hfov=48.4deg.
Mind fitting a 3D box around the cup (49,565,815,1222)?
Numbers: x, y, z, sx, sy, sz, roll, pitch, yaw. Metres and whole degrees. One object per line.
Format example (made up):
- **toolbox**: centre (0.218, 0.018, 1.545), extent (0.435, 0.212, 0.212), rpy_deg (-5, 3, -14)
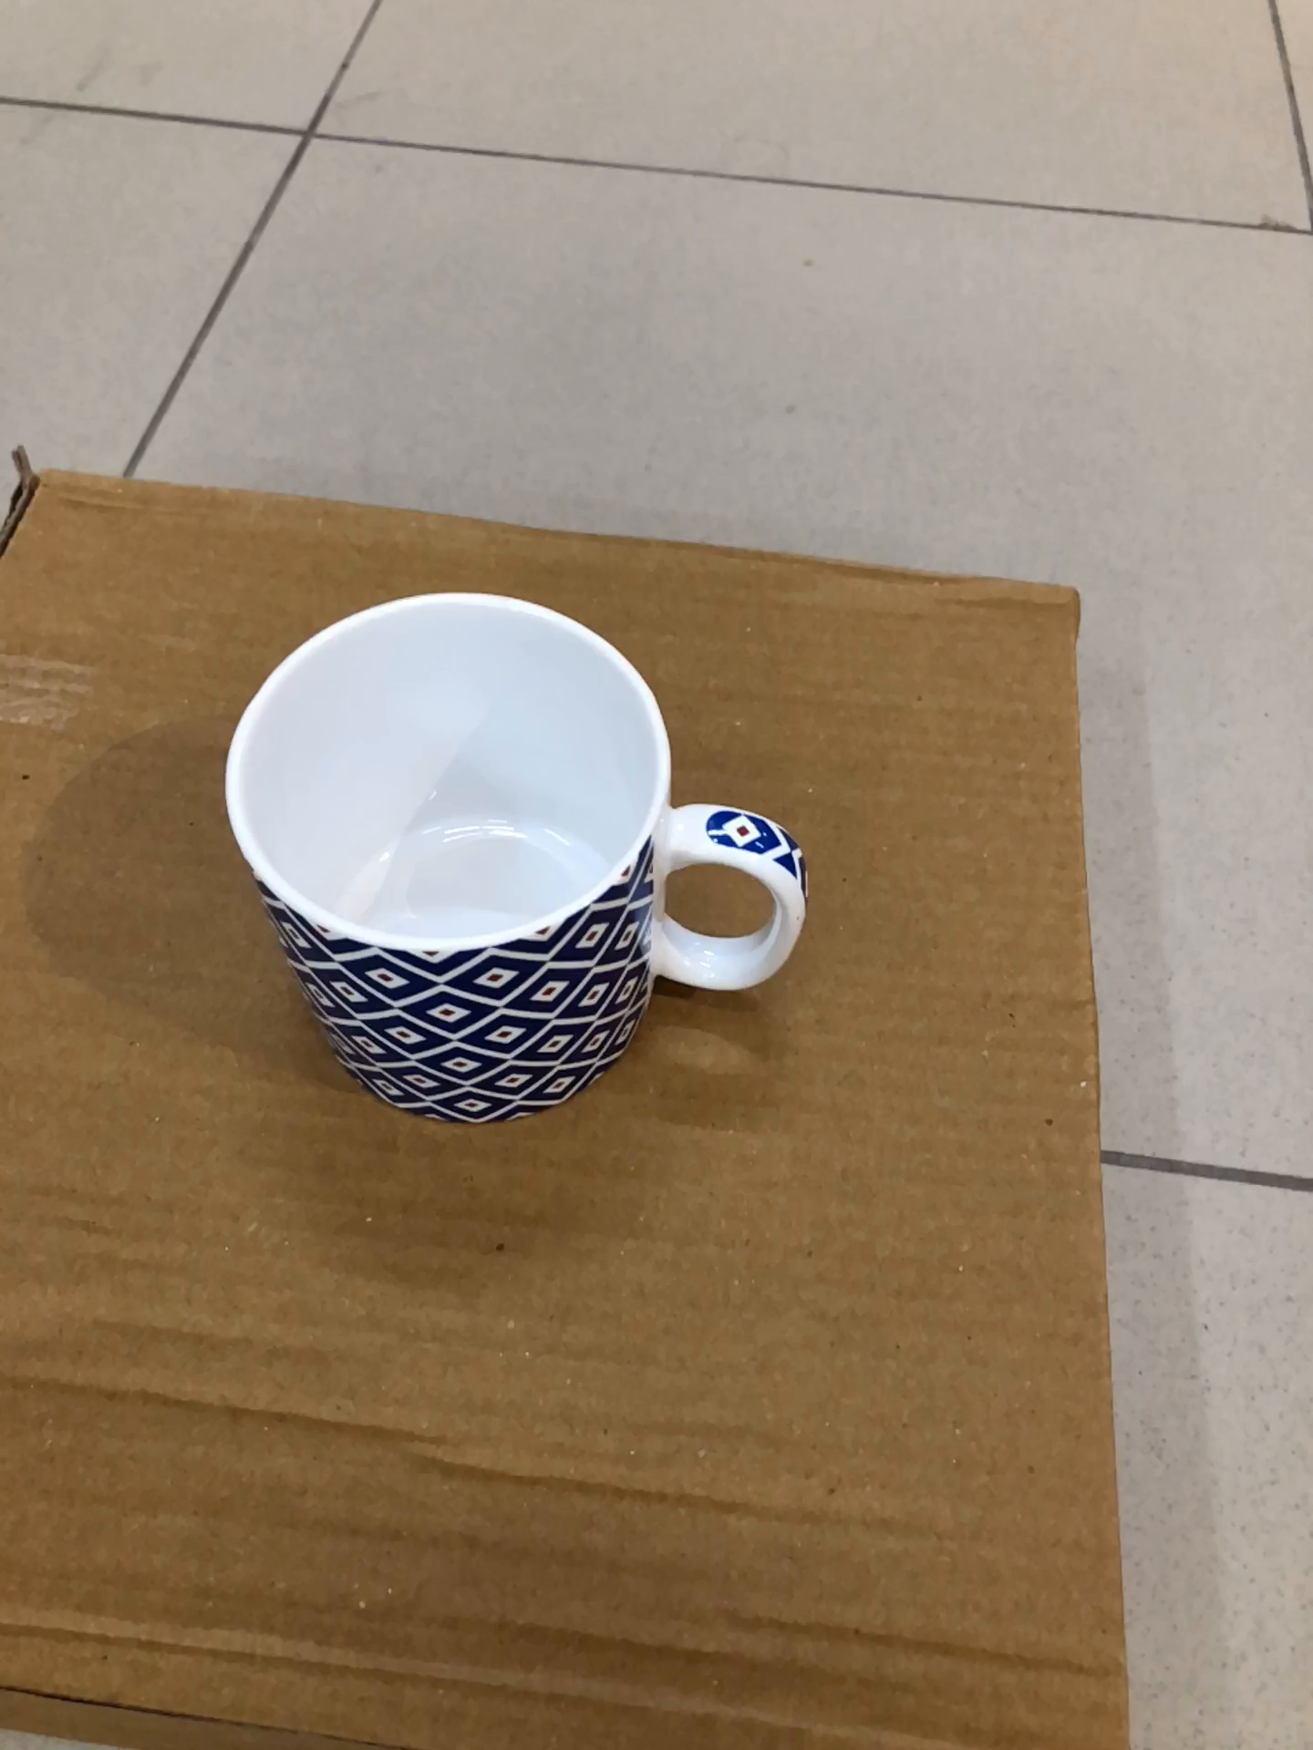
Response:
- **cup**: centre (-0.032, 0.005, 0.269), extent (0.110, 0.080, 0.080), rpy_deg (6, 55, 3)
